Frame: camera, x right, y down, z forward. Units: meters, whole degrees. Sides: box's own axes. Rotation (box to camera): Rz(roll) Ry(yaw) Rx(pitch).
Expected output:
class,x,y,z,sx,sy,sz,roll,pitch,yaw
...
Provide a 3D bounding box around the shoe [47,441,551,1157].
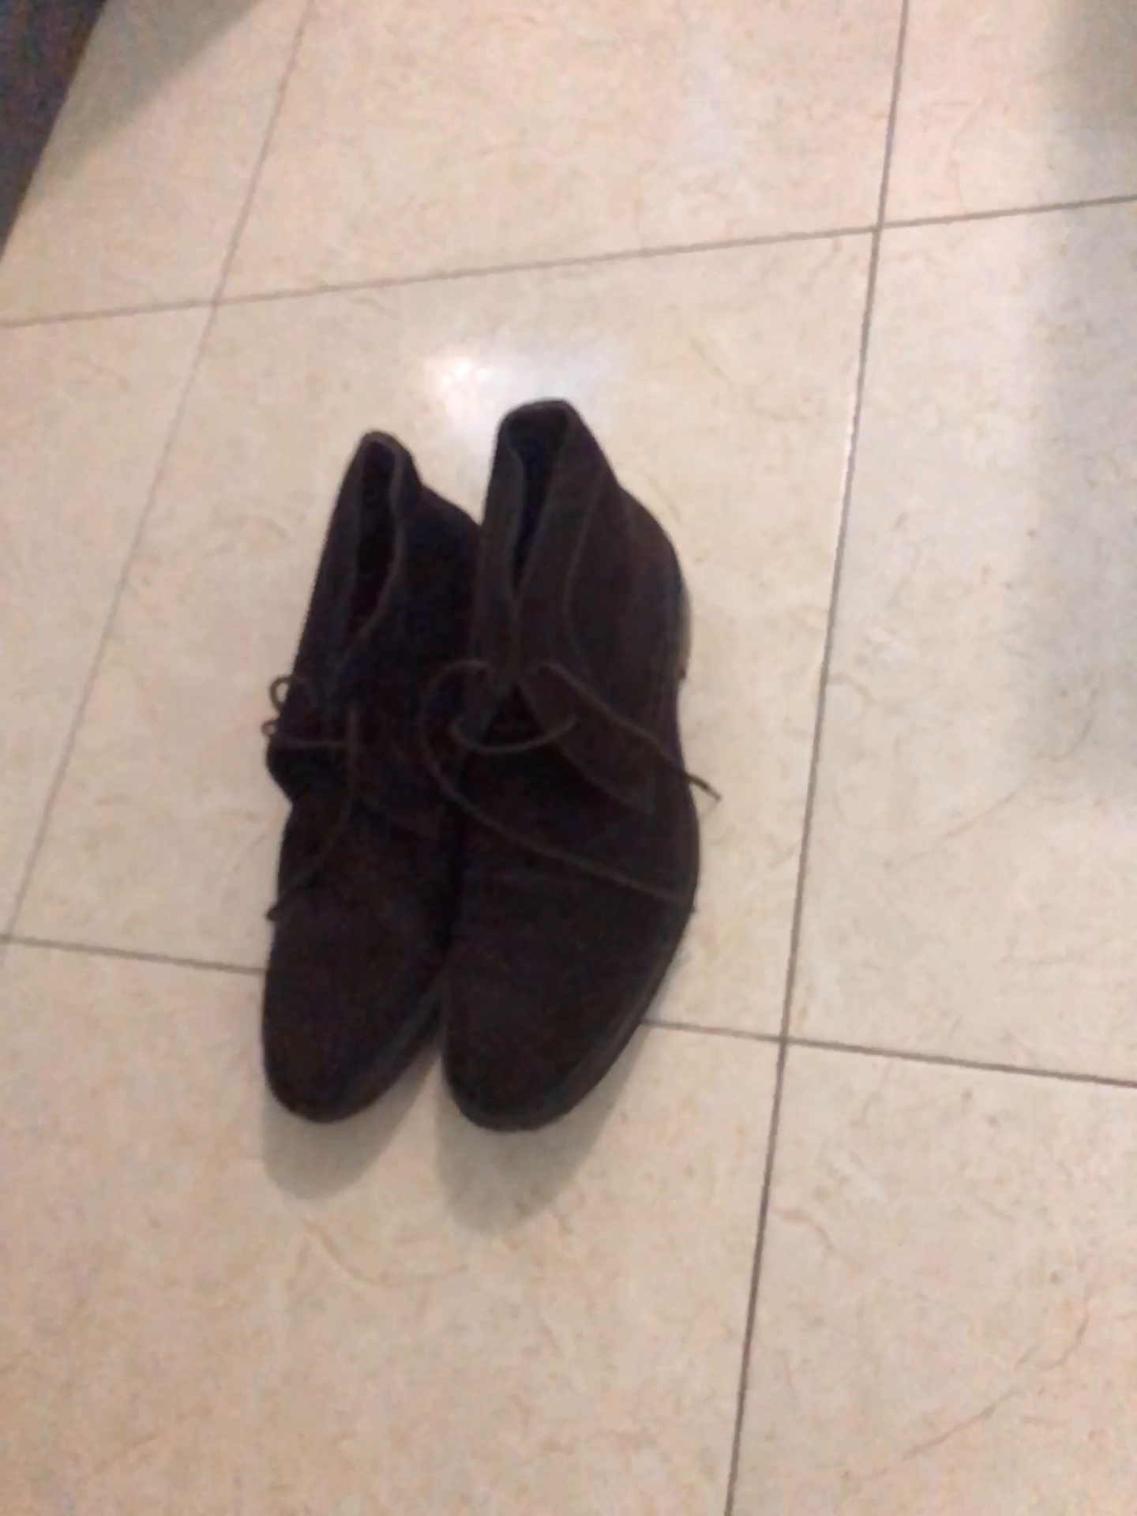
class,x,y,z,sx,sy,sz,roll,pitch,yaw
shoe,-0.111,0.017,0.601,0.110,0.130,0.300,4,70,22

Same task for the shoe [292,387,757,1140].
class,x,y,z,sx,sy,sz,roll,pitch,yaw
shoe,-0.004,0.003,0.580,0.110,0.140,0.300,4,70,22
